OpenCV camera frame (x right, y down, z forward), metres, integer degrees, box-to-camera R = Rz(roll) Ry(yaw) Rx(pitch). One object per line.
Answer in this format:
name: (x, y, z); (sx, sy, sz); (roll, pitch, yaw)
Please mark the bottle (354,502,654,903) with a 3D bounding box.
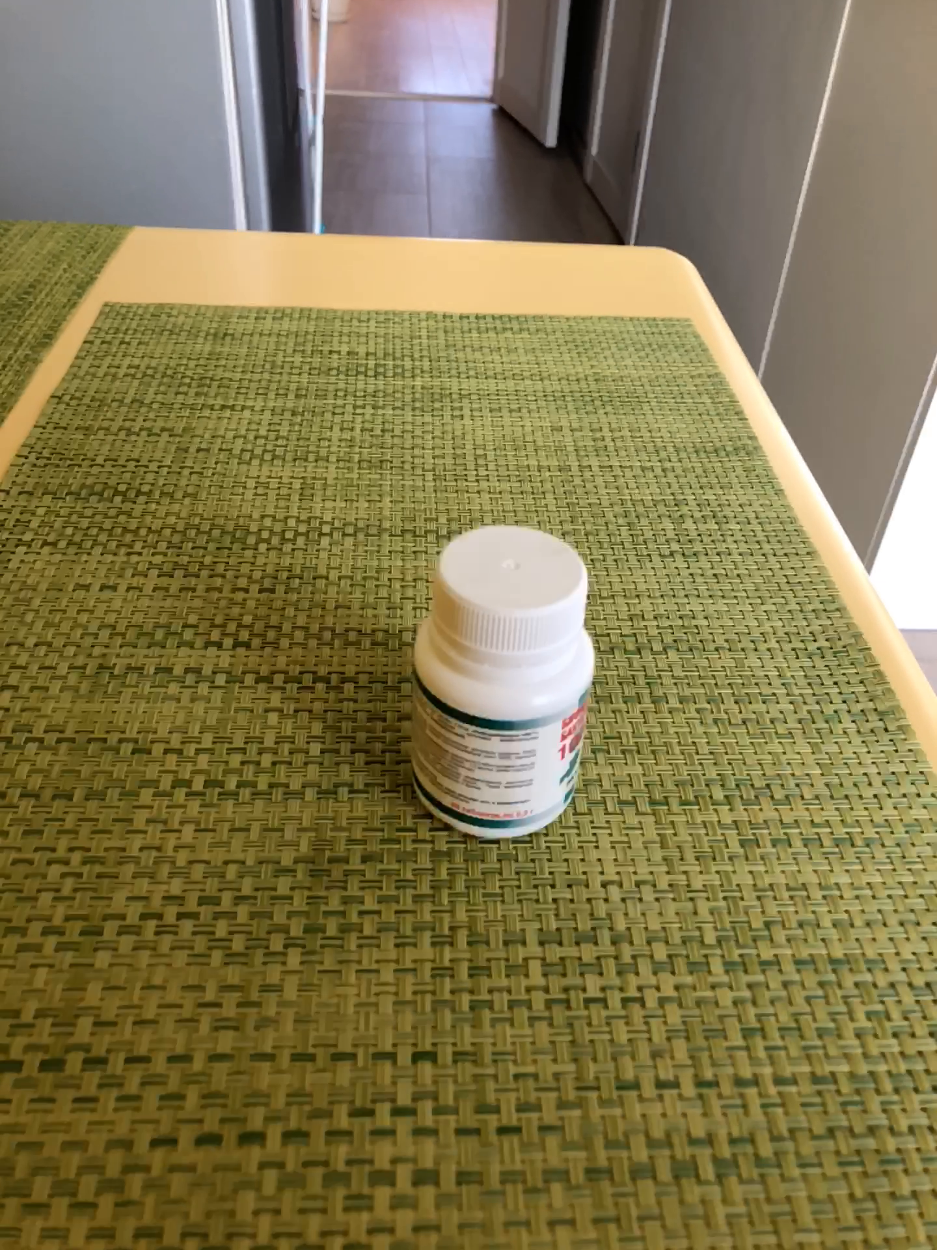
bottle: (0.007, 0.018, 0.256); (0.050, 0.069, 0.050); (3, 37, -2)
